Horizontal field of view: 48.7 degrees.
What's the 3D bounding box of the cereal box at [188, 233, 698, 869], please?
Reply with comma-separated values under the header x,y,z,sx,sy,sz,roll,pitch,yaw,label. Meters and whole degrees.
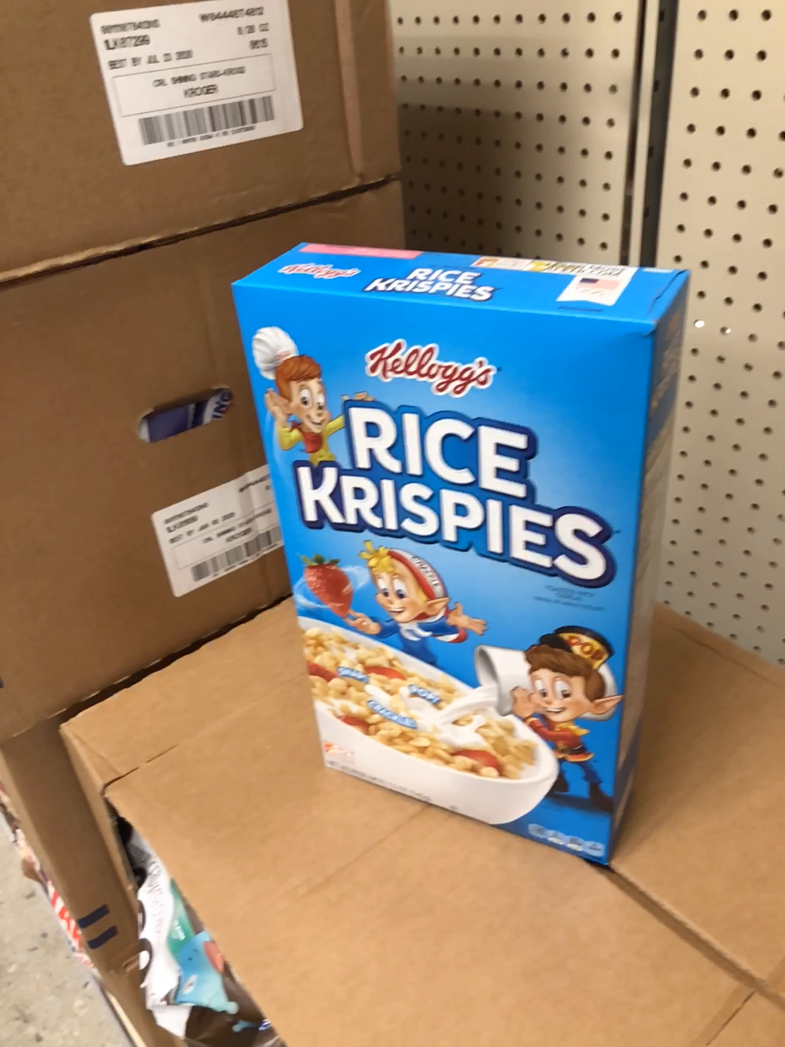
x,y,z,sx,sy,sz,roll,pitch,yaw,label
0.034,0.023,0.468,0.210,0.329,0.070,11,39,26,cereal box
